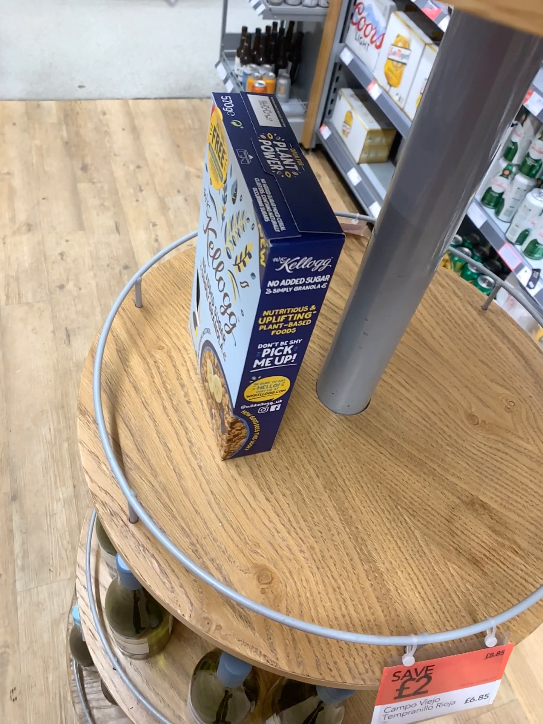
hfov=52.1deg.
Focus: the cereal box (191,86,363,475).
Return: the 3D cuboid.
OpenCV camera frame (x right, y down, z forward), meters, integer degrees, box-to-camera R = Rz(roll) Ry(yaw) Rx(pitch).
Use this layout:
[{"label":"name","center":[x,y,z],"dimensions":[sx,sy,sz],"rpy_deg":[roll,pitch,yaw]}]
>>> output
[{"label":"cereal box","center":[-0.017,-0.049,0.436],"dimensions":[0.050,0.248,0.171],"rpy_deg":[-5,53,-16]}]
